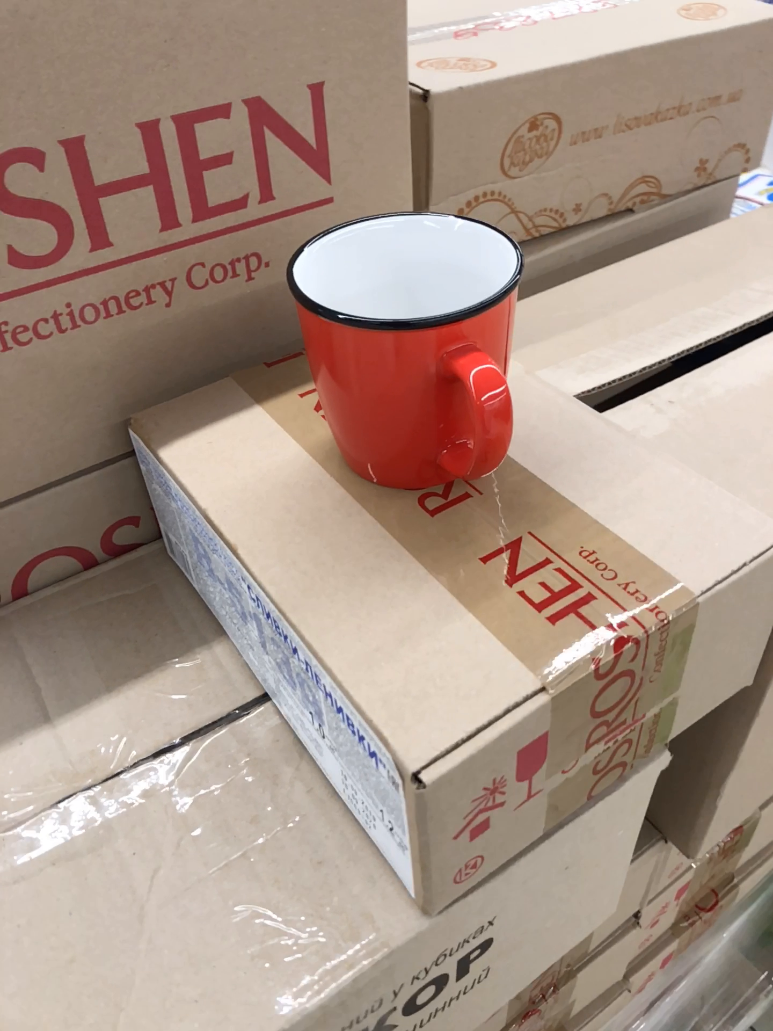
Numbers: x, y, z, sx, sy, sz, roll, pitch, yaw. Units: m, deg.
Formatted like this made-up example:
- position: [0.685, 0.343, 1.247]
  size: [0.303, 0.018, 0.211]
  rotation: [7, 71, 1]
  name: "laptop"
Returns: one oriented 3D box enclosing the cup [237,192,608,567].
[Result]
- position: [0.010, -0.065, 0.368]
  size: [0.096, 0.089, 0.127]
  rotation: [-22, 44, -20]
  name: "cup"
